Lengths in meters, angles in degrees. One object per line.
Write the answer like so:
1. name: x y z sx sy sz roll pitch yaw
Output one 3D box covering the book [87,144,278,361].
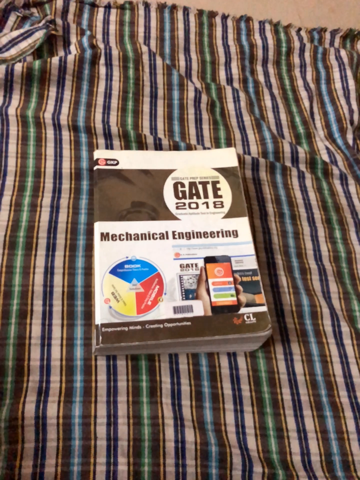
1. book: -0.011 0.008 0.523 0.210 0.076 0.264 -1 64 -10
